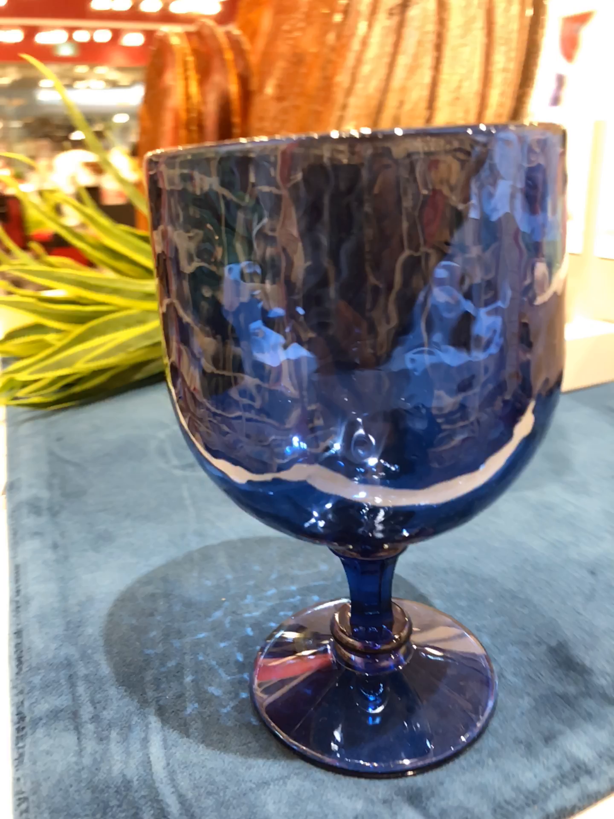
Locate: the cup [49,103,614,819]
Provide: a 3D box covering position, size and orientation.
[{"bbox_3d":[0.009,0.007,0.165,0.090,0.140,0.080,-18,24,-36],"label":"cup"}]
